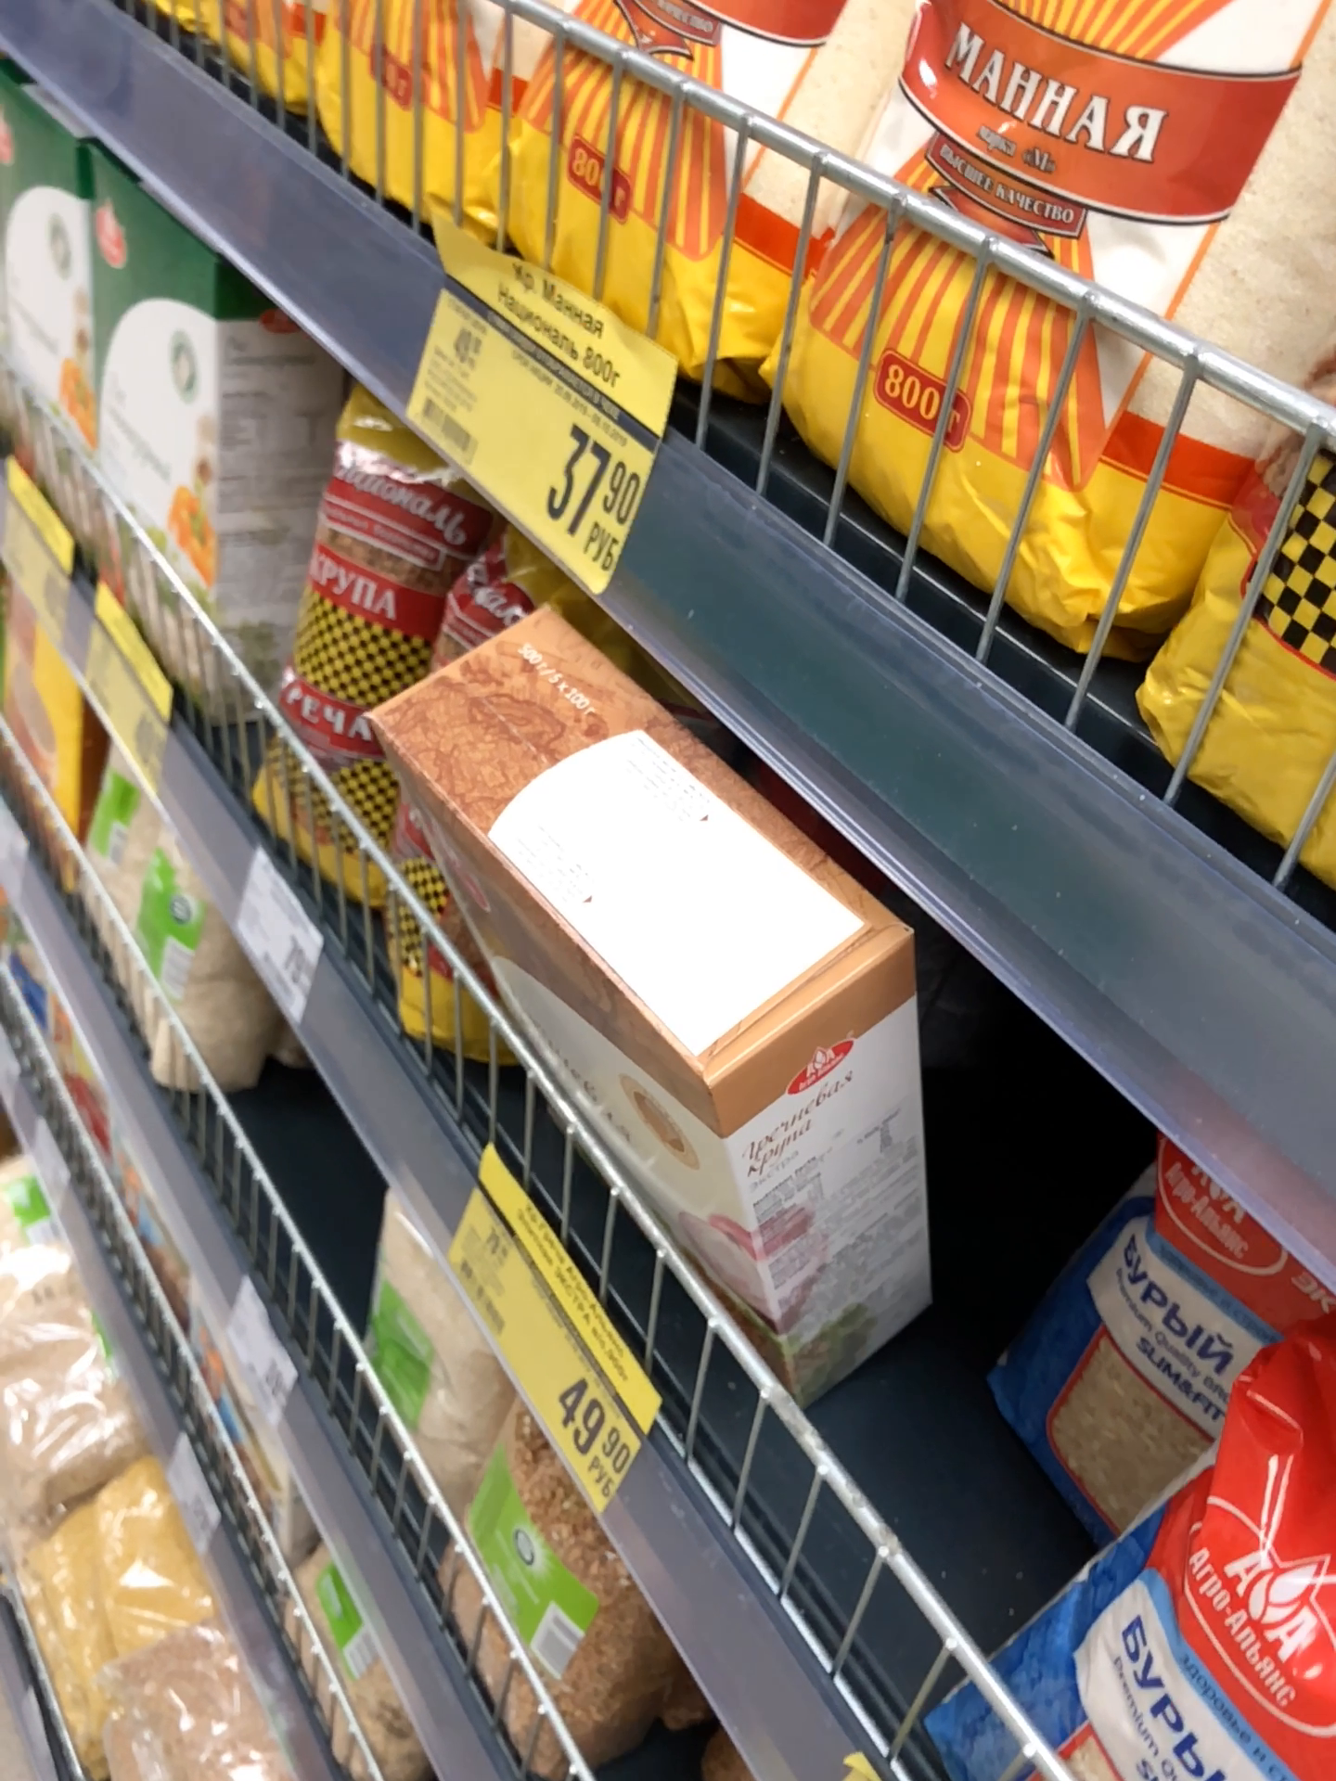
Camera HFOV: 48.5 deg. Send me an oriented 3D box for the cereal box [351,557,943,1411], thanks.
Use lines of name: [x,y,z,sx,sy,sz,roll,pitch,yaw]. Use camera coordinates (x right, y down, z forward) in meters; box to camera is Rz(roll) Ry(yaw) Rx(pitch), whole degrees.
cereal box: [0.004,0.034,0.389,0.050,0.199,0.140,-35,55,-15]
